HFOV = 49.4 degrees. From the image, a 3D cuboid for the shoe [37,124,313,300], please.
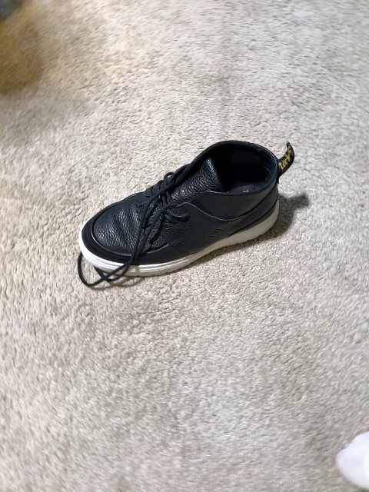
[{"bbox_3d":[-0.012,-0.035,0.458,0.262,0.111,0.107,-14,70,-6],"label":"shoe"}]
